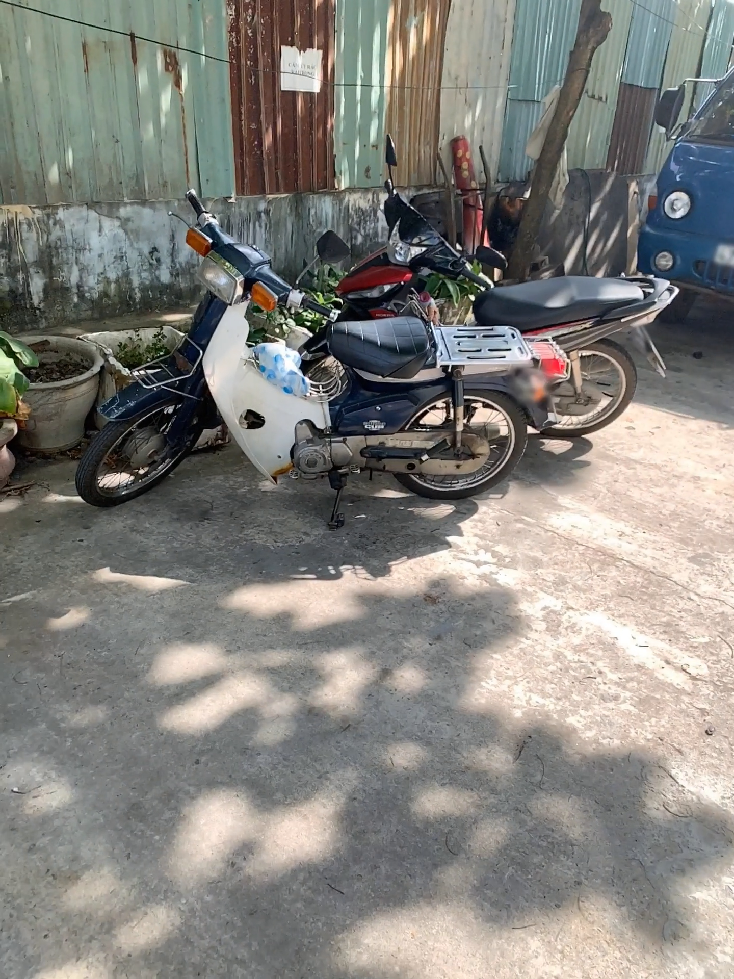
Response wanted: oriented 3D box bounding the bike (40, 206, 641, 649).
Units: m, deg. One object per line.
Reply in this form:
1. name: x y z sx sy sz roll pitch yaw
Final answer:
1. bike: -0.114 -0.257 2.294 1.476 1.024 0.655 -6 28 -15
